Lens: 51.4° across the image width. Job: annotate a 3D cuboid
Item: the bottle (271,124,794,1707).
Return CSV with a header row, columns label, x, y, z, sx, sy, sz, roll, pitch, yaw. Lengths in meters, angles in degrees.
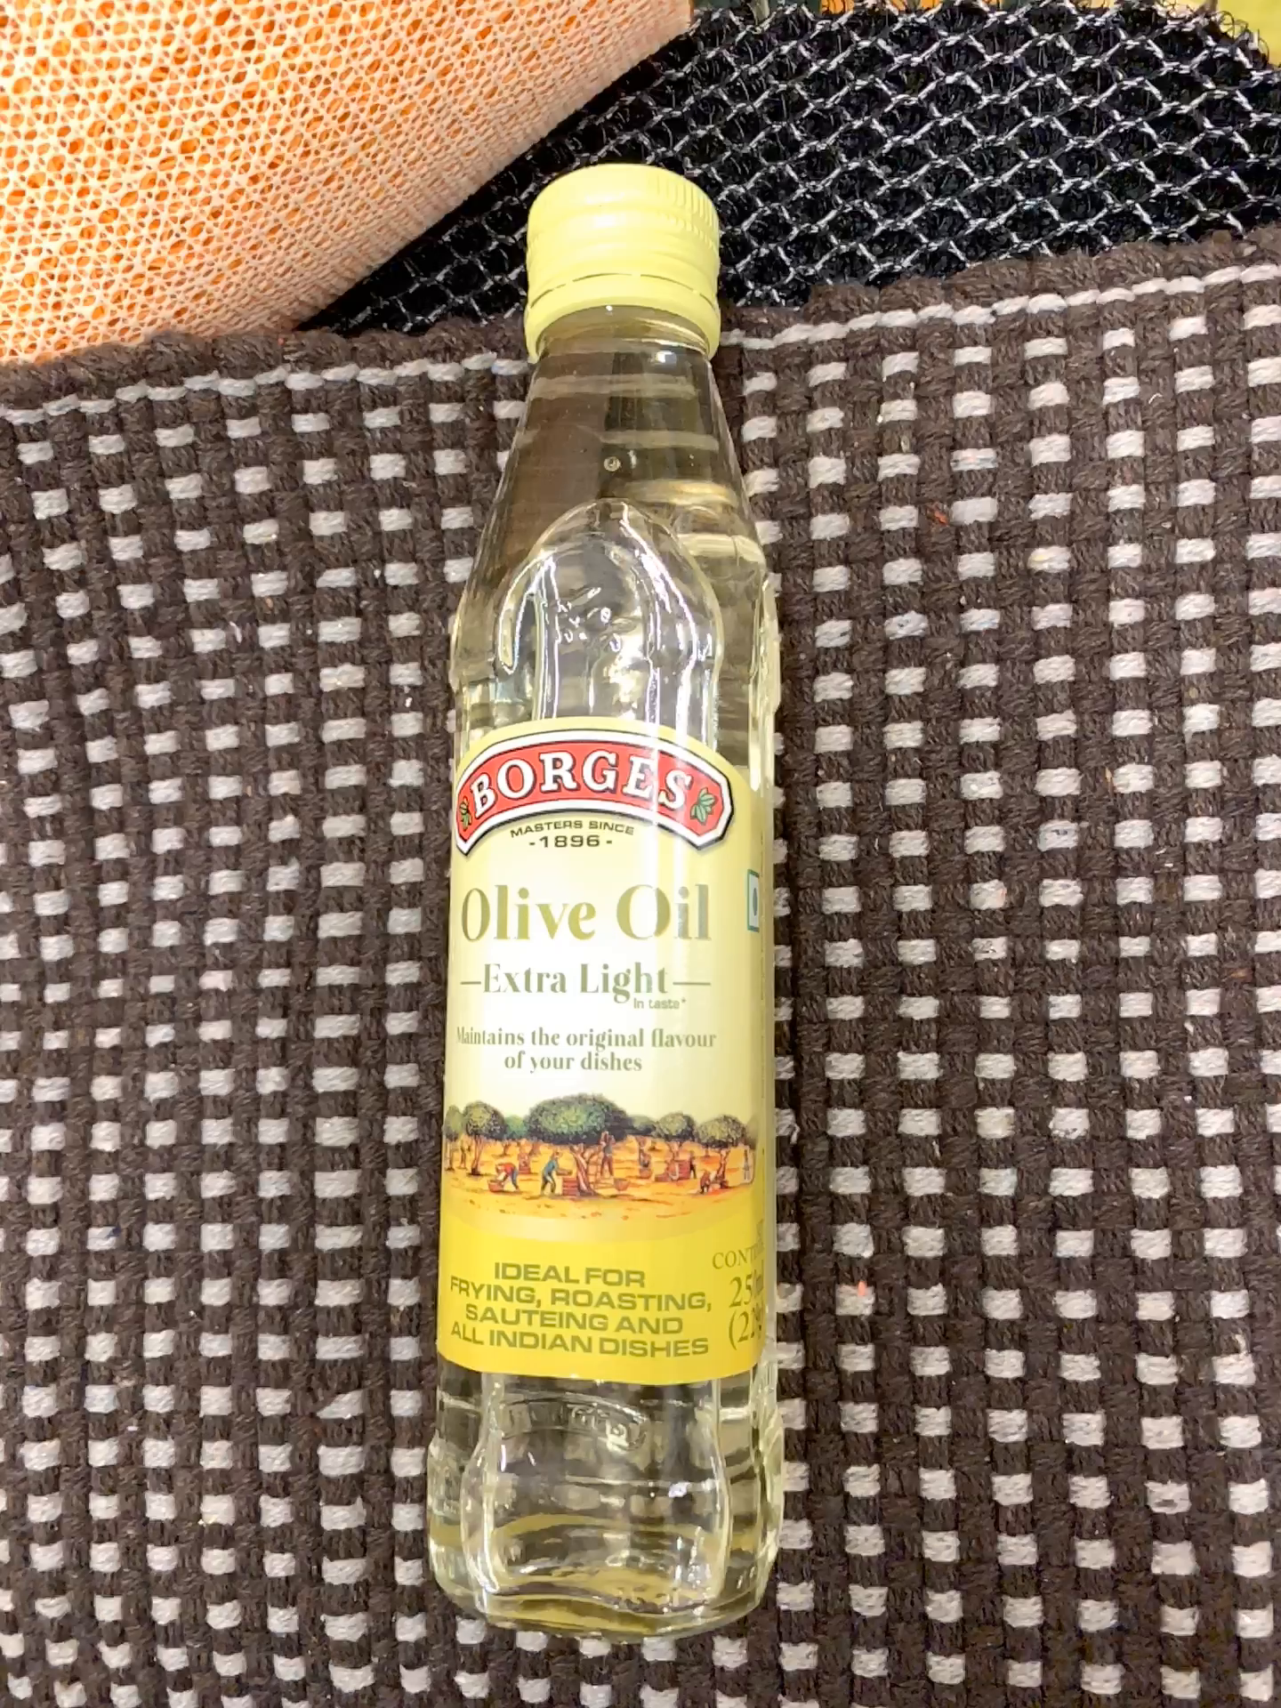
label,x,y,z,sx,sy,sz,roll,pitch,yaw
bottle,-0.011,0.008,0.188,0.060,0.040,0.200,0,85,12
